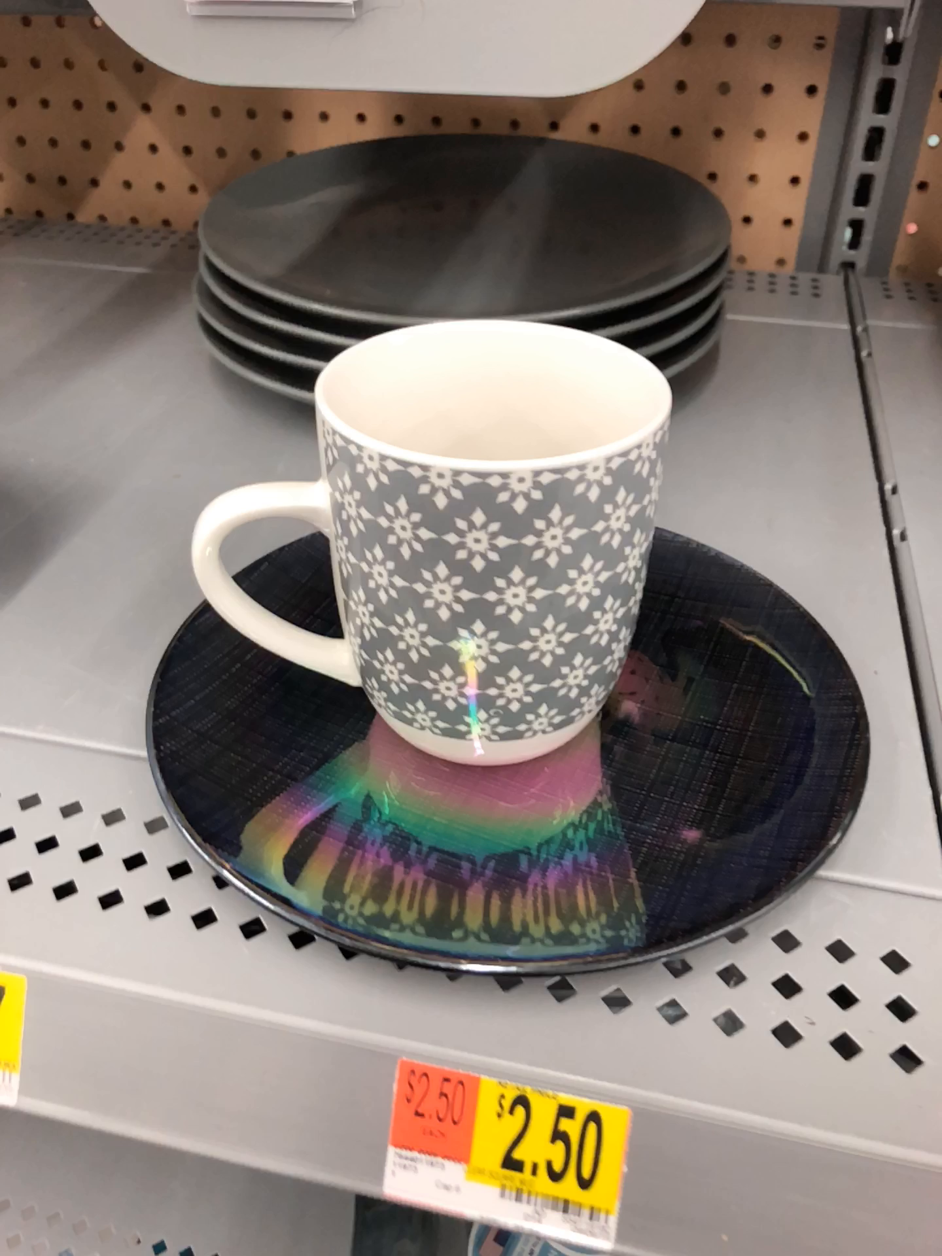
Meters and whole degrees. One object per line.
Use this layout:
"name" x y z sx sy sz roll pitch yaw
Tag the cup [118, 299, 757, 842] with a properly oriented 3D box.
"cup" -0.011 -0.019 0.276 0.129 0.096 0.094 -5 37 -7
